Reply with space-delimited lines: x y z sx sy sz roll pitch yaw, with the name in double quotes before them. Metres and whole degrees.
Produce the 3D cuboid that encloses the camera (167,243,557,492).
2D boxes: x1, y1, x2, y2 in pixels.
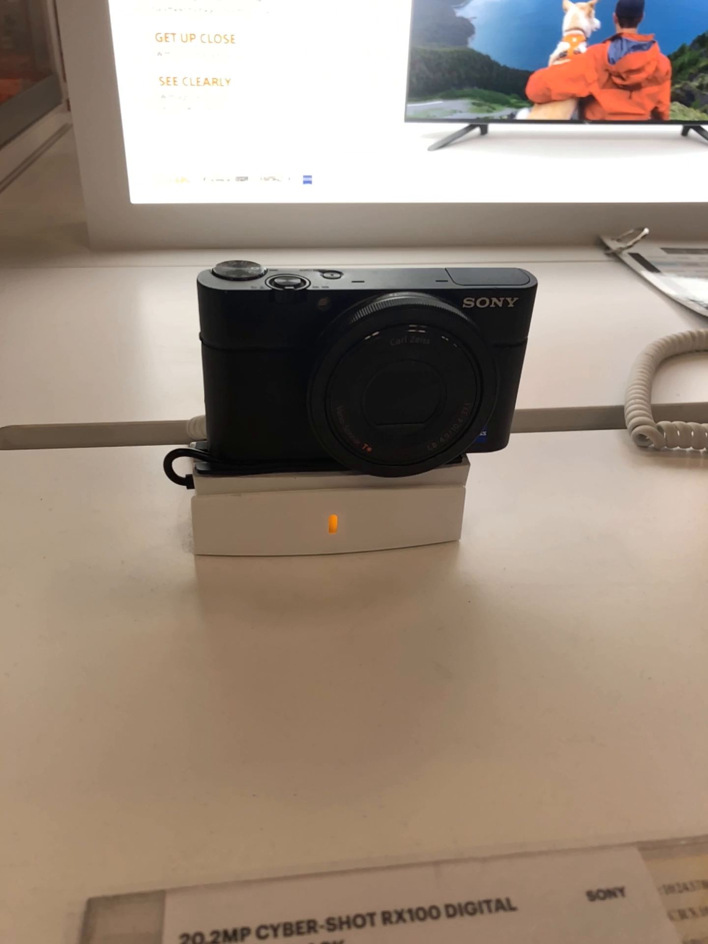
"camera" 0.001 -0.033 0.252 0.110 0.070 0.030 -2 31 -7
